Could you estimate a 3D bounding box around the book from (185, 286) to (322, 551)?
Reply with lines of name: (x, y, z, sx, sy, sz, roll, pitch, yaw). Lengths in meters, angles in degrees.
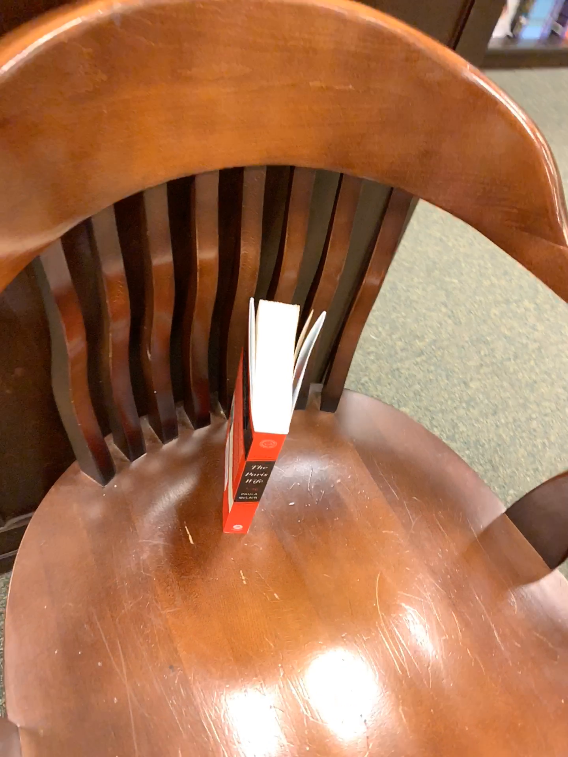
book: (-0.032, 0.044, 0.538, 0.071, 0.199, 0.150, 13, 51, -6)
